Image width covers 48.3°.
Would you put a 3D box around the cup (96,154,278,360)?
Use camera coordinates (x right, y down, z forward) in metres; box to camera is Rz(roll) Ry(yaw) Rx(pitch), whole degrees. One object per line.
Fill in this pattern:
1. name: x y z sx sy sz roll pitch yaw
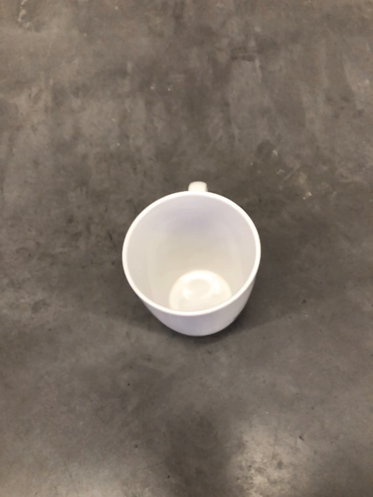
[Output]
1. cup: 0.004 0.011 0.326 0.111 0.098 0.127 -3 63 4
